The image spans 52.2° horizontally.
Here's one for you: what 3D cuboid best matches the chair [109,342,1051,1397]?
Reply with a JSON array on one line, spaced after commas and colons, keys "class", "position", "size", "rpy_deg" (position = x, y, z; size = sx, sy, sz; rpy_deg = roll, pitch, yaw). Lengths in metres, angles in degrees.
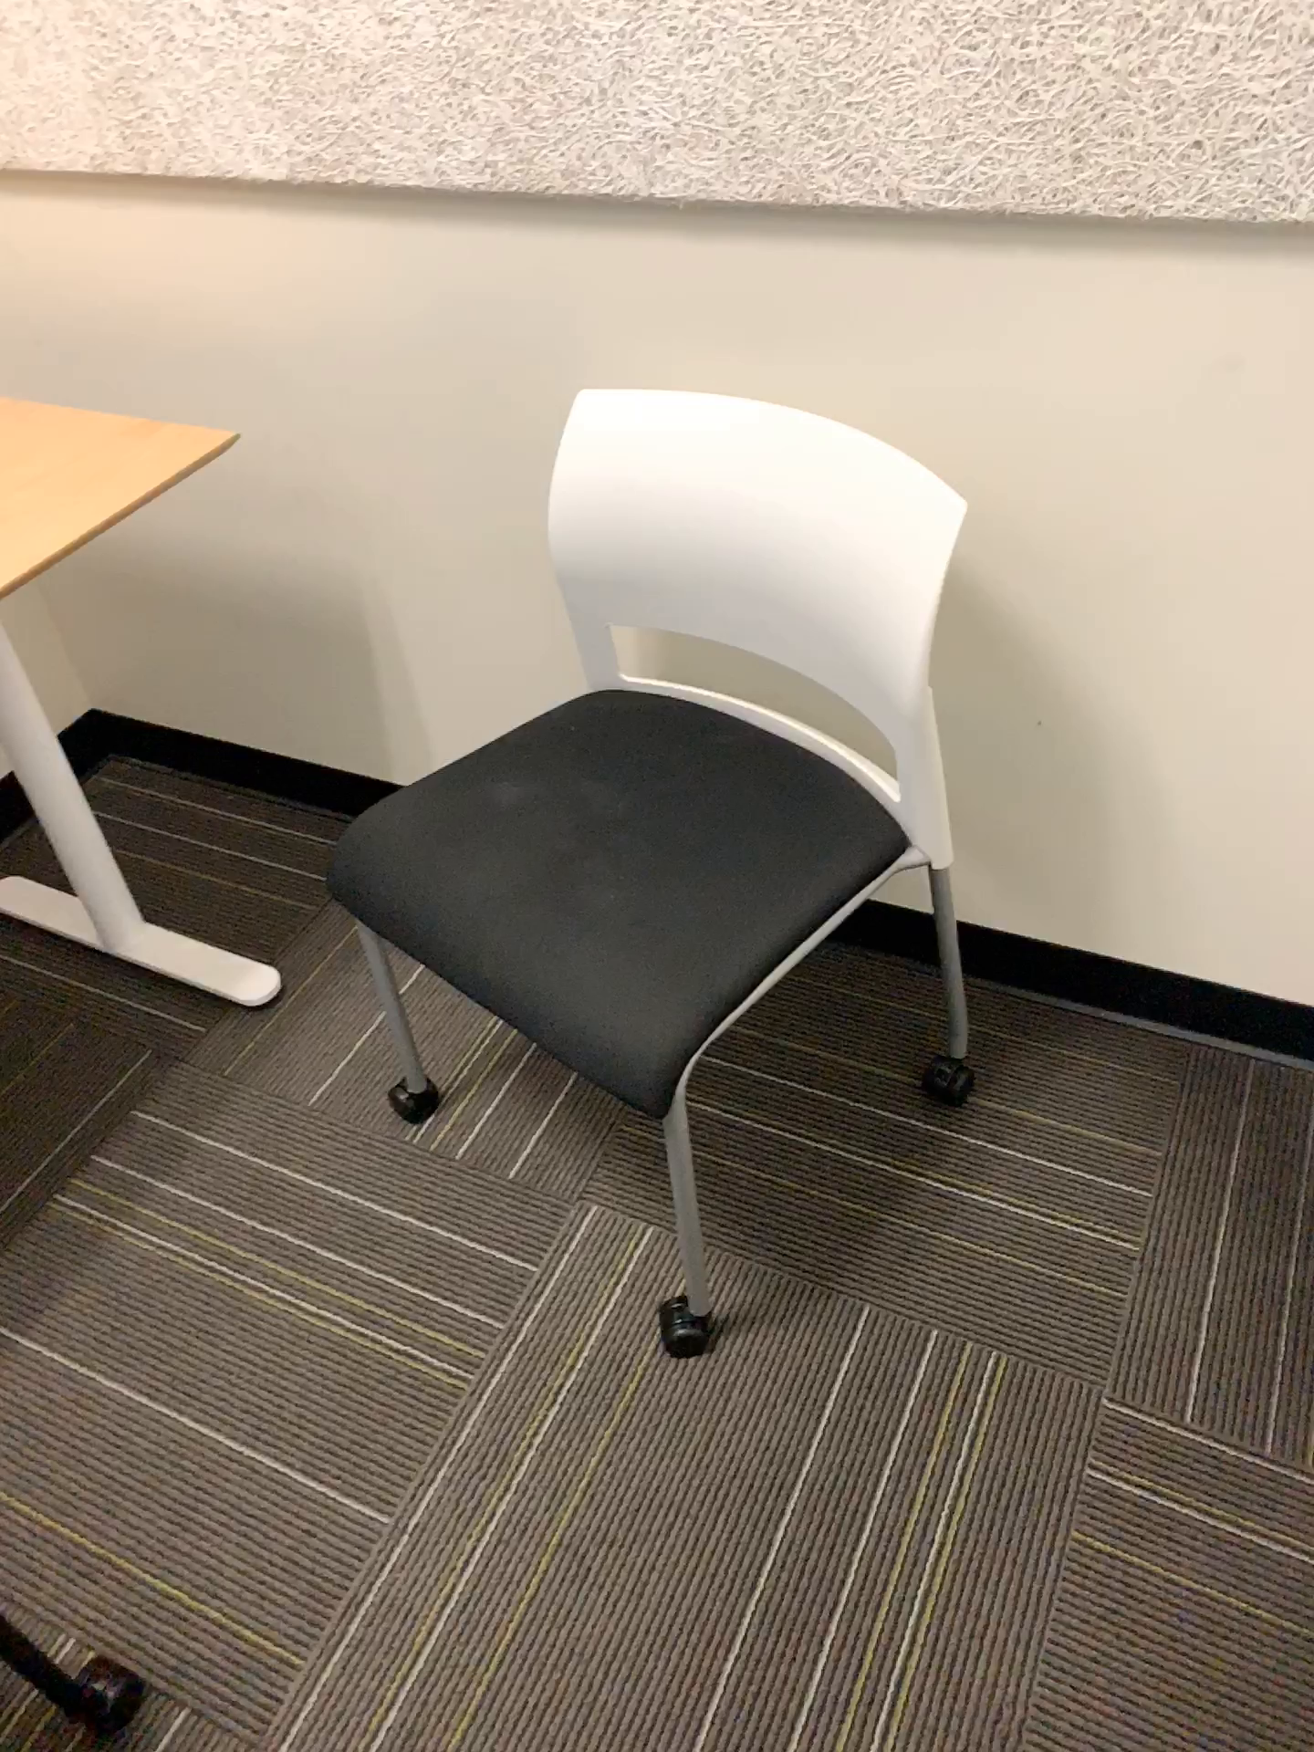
[{"class": "chair", "position": [-0.037, -0.027, 1.362], "size": [0.583, 0.735, 0.541], "rpy_deg": [29, 53, 34]}]
